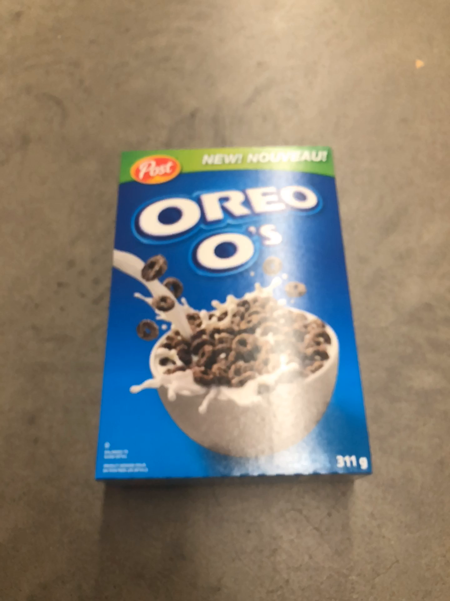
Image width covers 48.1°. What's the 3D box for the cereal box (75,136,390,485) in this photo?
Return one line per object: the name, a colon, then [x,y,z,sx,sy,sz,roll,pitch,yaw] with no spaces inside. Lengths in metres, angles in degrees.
cereal box: [0.001,0.000,0.425,0.210,0.070,0.281,-2,66,1]
